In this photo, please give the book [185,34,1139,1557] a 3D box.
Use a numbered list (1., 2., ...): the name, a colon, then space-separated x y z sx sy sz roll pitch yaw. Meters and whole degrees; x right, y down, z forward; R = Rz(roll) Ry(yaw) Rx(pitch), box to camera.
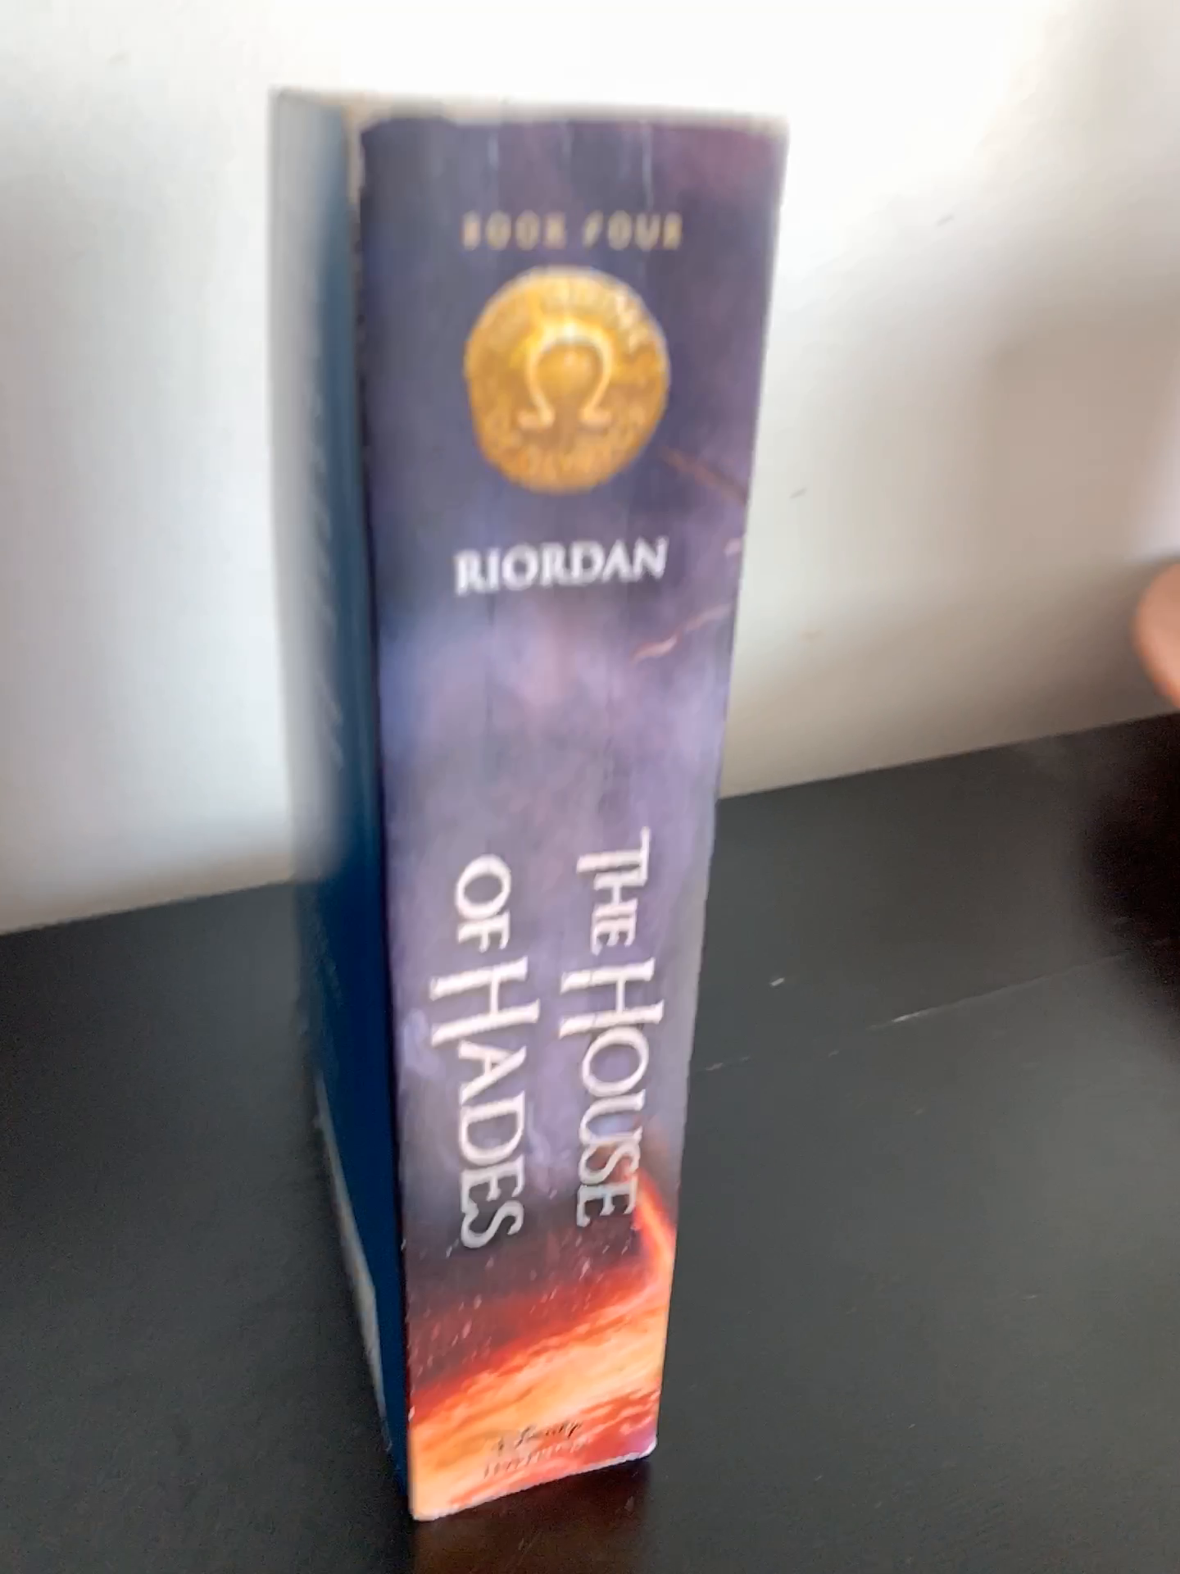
1. book: -0.013 -0.012 0.199 0.077 0.176 0.145 -6 28 -17
